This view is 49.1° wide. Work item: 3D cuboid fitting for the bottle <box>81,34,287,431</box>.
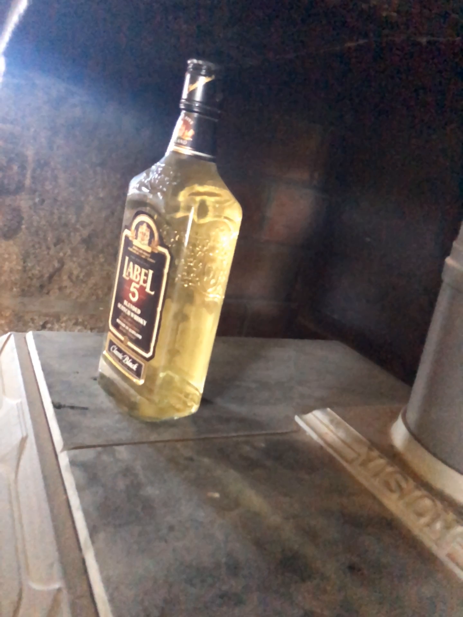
[{"bbox_3d":[-0.045,-0.053,0.373,0.060,0.249,0.110,0,18,-39],"label":"bottle"}]
